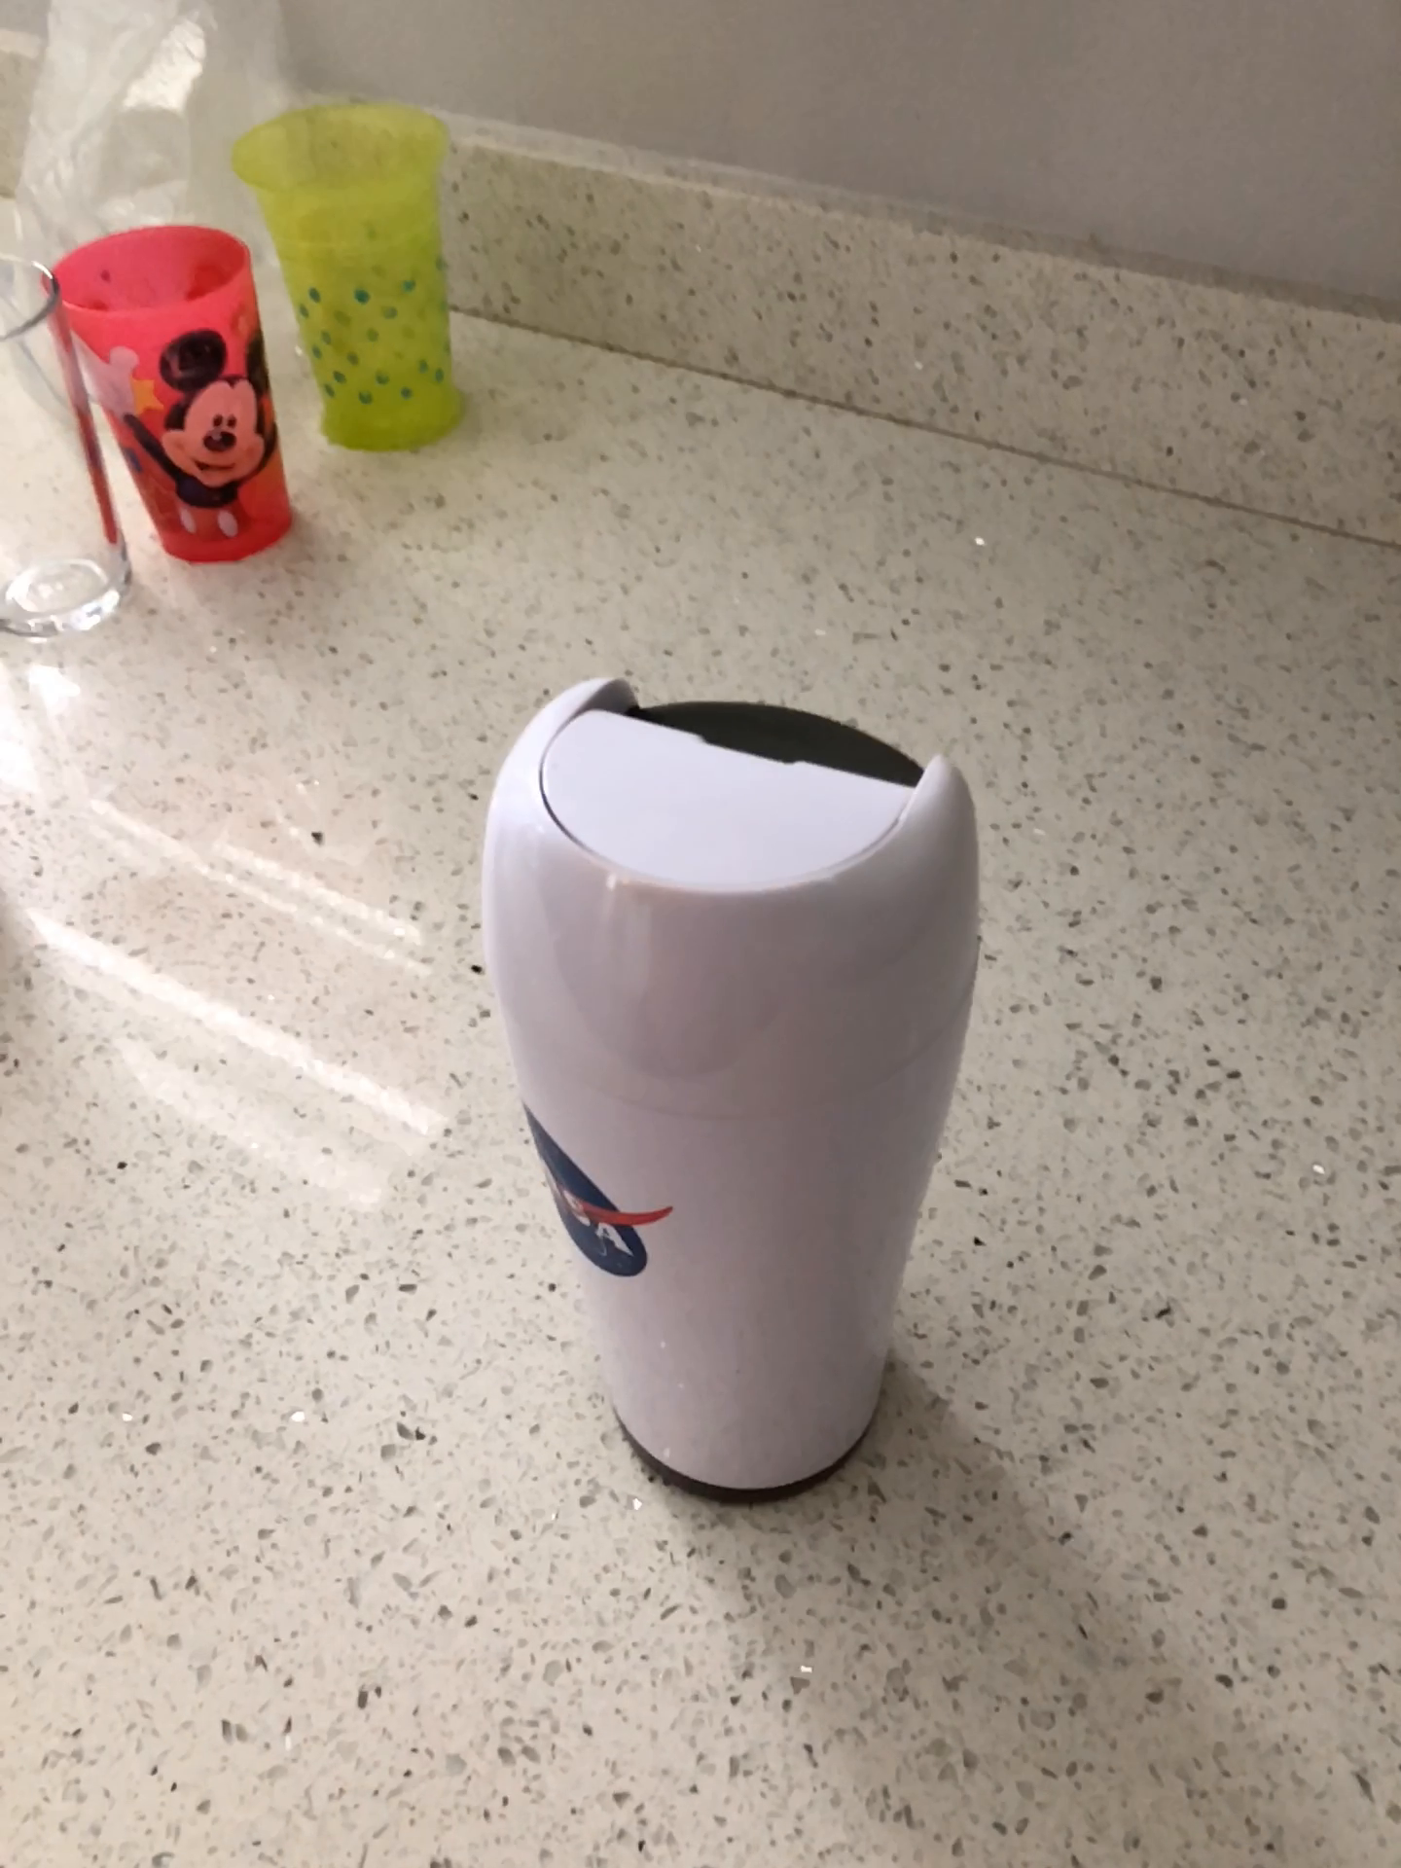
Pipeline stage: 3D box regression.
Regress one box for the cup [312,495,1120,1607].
[{"bbox_3d":[0.004,0.032,0.278,0.080,0.182,0.078,-2,47,2],"label":"cup"}]
